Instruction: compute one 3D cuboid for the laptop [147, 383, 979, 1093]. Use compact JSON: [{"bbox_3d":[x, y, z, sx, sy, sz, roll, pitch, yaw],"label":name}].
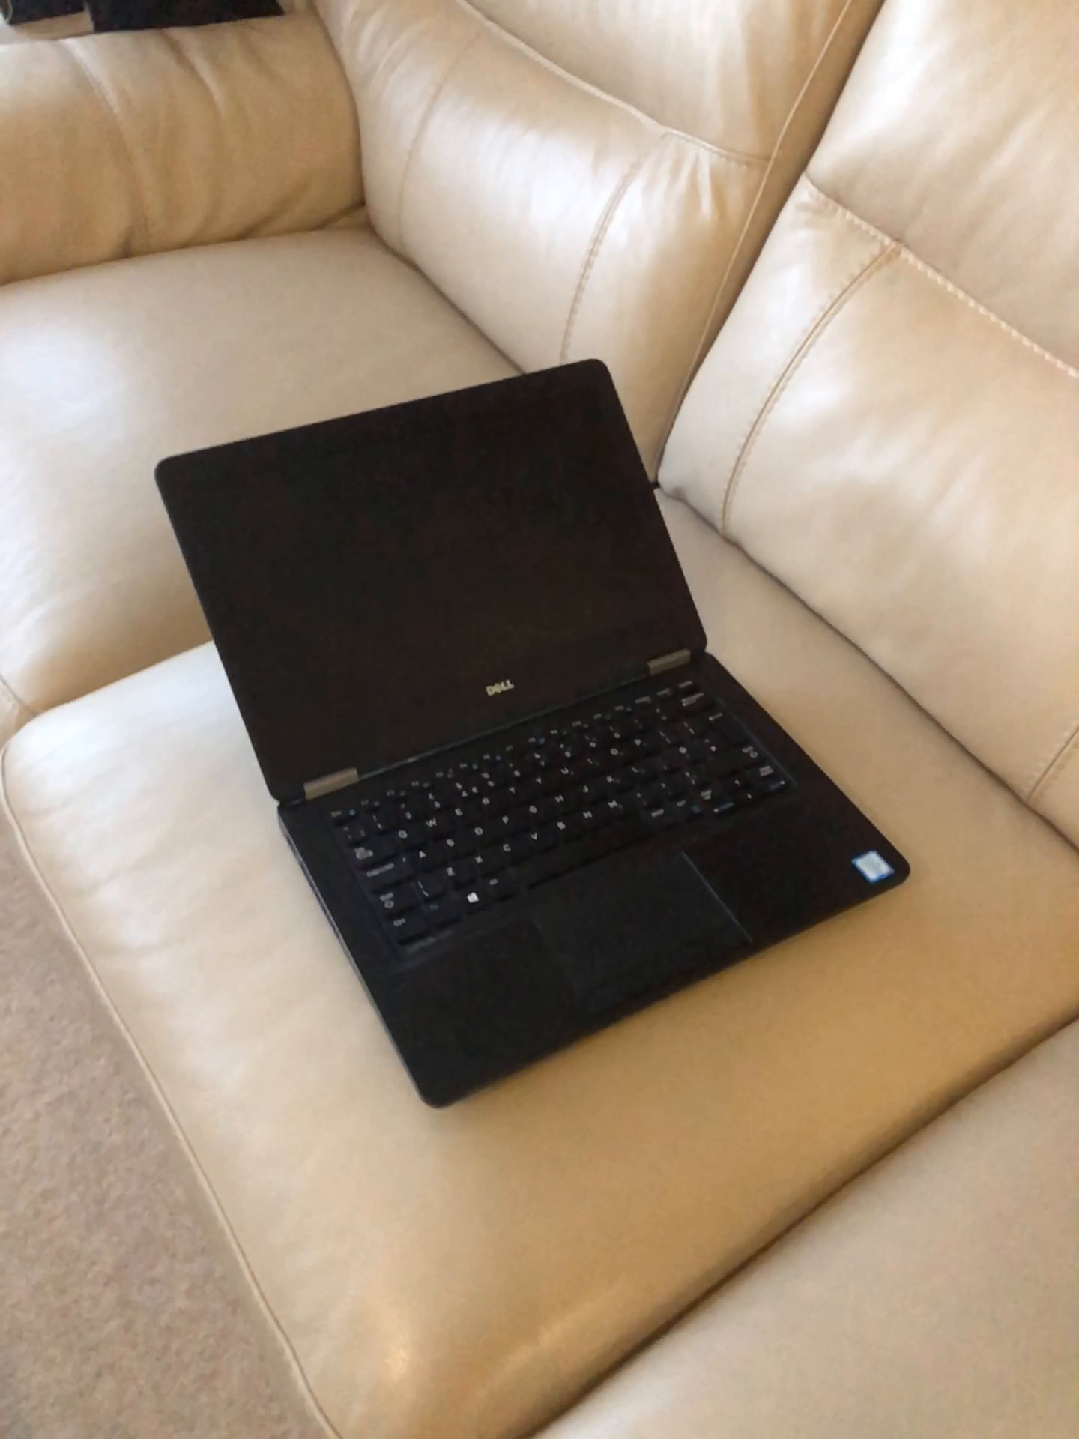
[{"bbox_3d":[-0.009,-0.027,0.687,0.306,0.124,0.376,-20,49,-22],"label":"laptop"}]
